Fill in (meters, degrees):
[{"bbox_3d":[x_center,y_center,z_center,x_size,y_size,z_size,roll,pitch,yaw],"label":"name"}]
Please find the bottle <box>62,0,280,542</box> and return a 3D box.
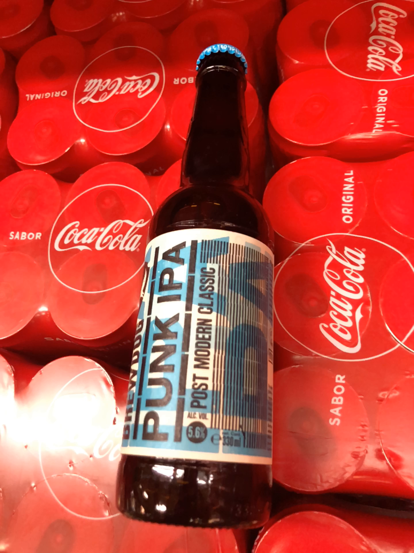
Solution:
[{"bbox_3d":[-0.001,-0.025,0.199,0.060,0.060,0.230,-2,69,13],"label":"bottle"}]
